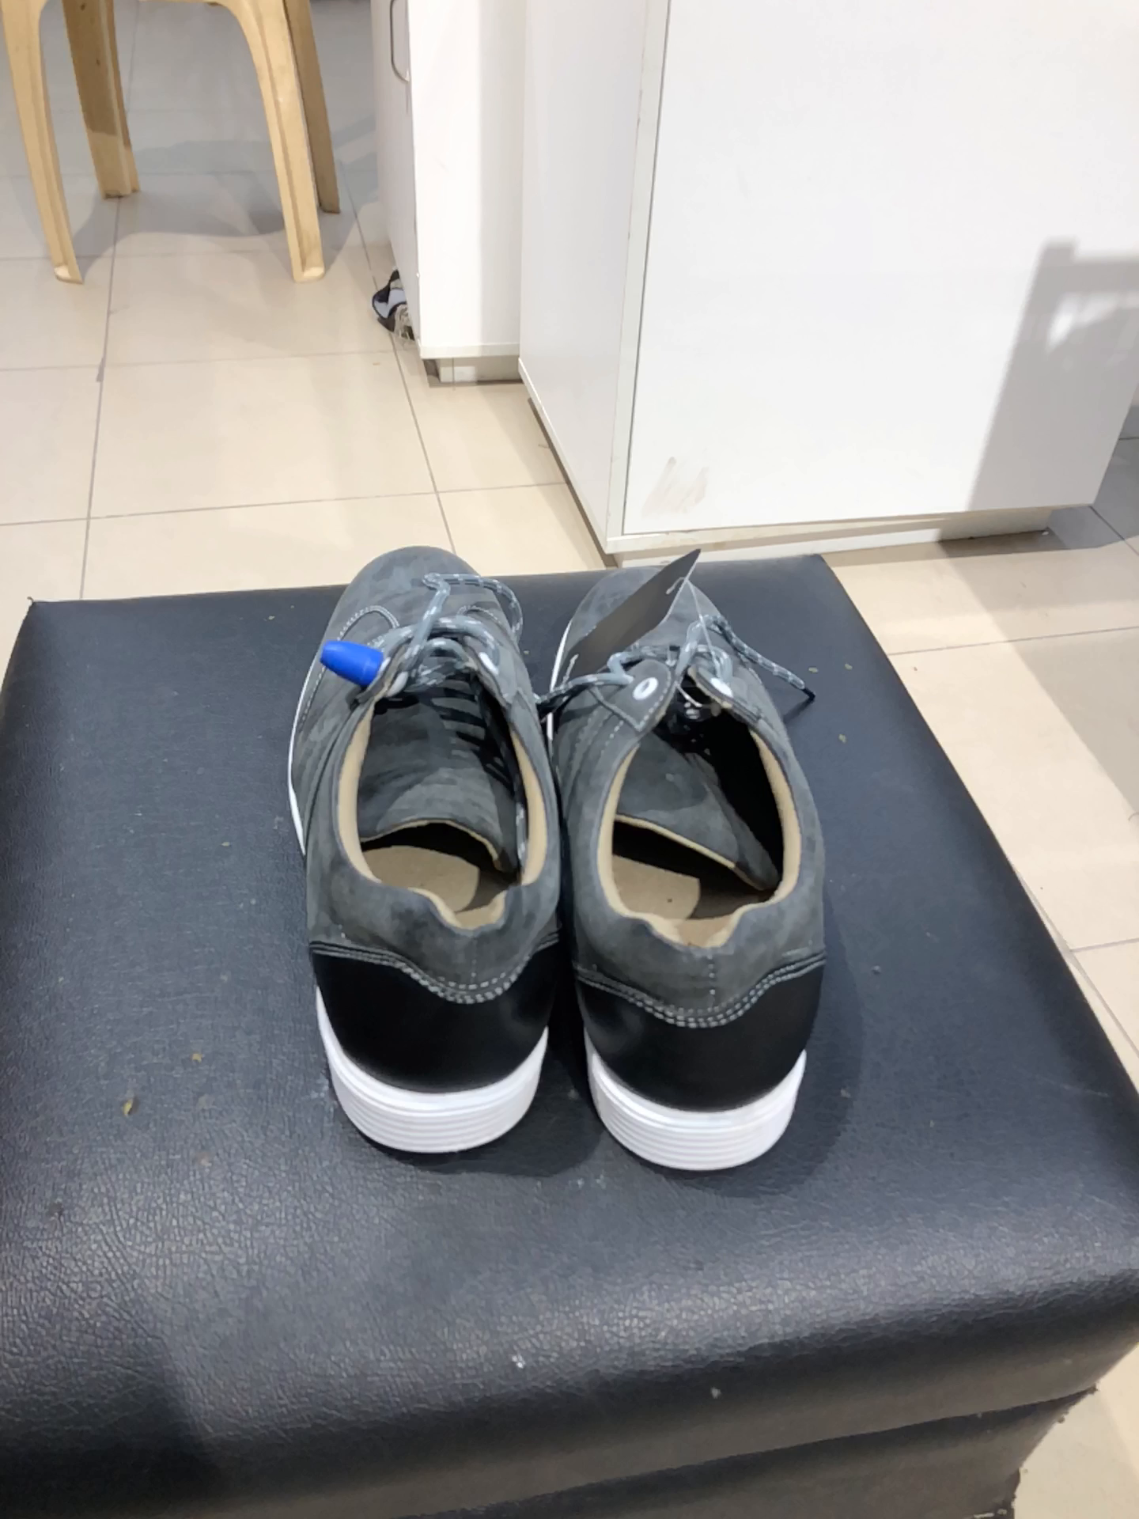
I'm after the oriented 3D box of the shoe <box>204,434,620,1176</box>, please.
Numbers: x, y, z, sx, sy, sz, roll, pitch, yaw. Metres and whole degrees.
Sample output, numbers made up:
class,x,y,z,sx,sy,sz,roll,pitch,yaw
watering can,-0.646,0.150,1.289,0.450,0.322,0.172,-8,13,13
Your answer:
class,x,y,z,sx,sy,sz,roll,pitch,yaw
shoe,-0.055,-0.003,0.431,0.100,0.106,0.250,-3,42,-7

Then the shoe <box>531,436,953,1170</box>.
class,x,y,z,sx,sy,sz,roll,pitch,yaw
shoe,0.040,-0.001,0.431,0.100,0.106,0.250,2,42,-2
